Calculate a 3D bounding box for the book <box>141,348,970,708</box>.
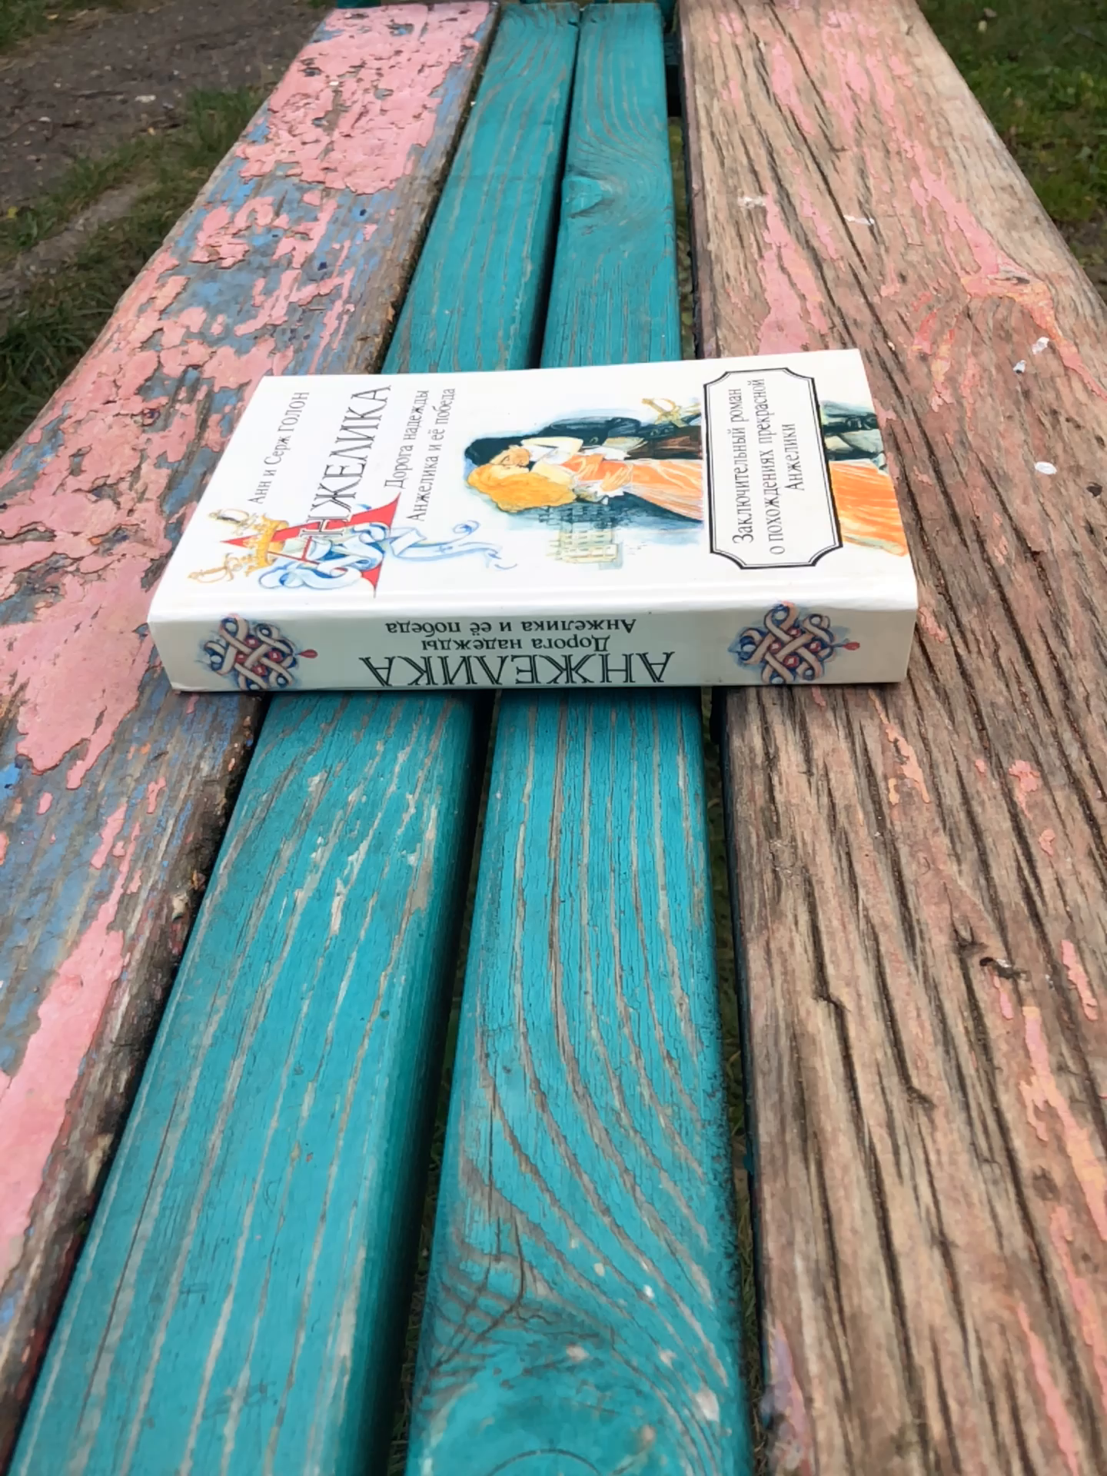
[{"bbox_3d":[0.002,-0.072,0.383,0.213,0.032,0.154,0,41,3],"label":"book"}]
